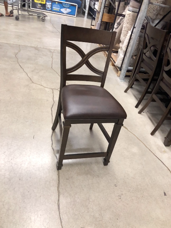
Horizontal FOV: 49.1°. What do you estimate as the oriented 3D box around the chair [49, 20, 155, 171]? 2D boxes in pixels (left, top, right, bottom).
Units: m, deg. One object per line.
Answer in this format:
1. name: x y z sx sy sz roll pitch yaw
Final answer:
1. chair: 0.008 -0.132 1.597 0.491 1.027 0.651 0 37 -18
